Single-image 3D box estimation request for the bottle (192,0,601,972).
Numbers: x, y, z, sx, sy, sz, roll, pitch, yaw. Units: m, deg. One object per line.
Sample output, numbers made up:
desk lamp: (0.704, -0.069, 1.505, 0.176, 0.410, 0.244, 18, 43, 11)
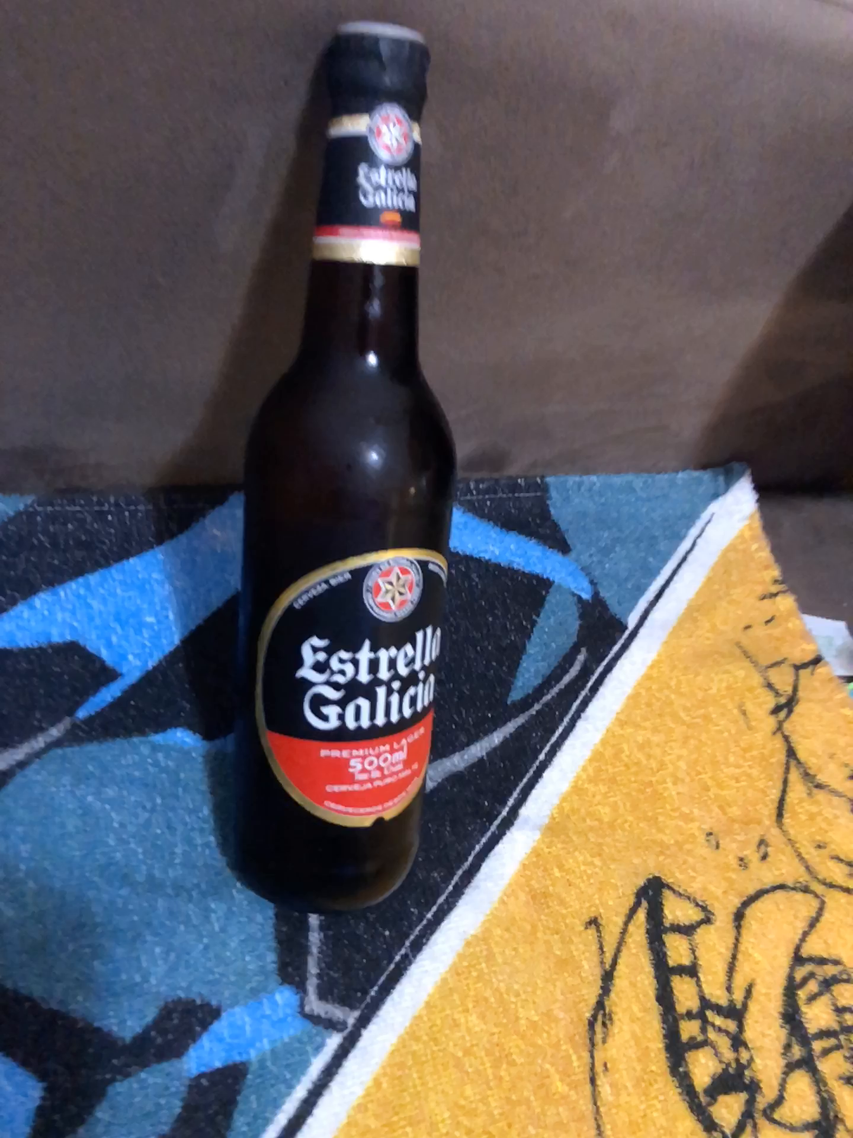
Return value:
bottle: (-0.020, -0.024, 0.297, 0.080, 0.269, 0.080, 5, 15, -1)
